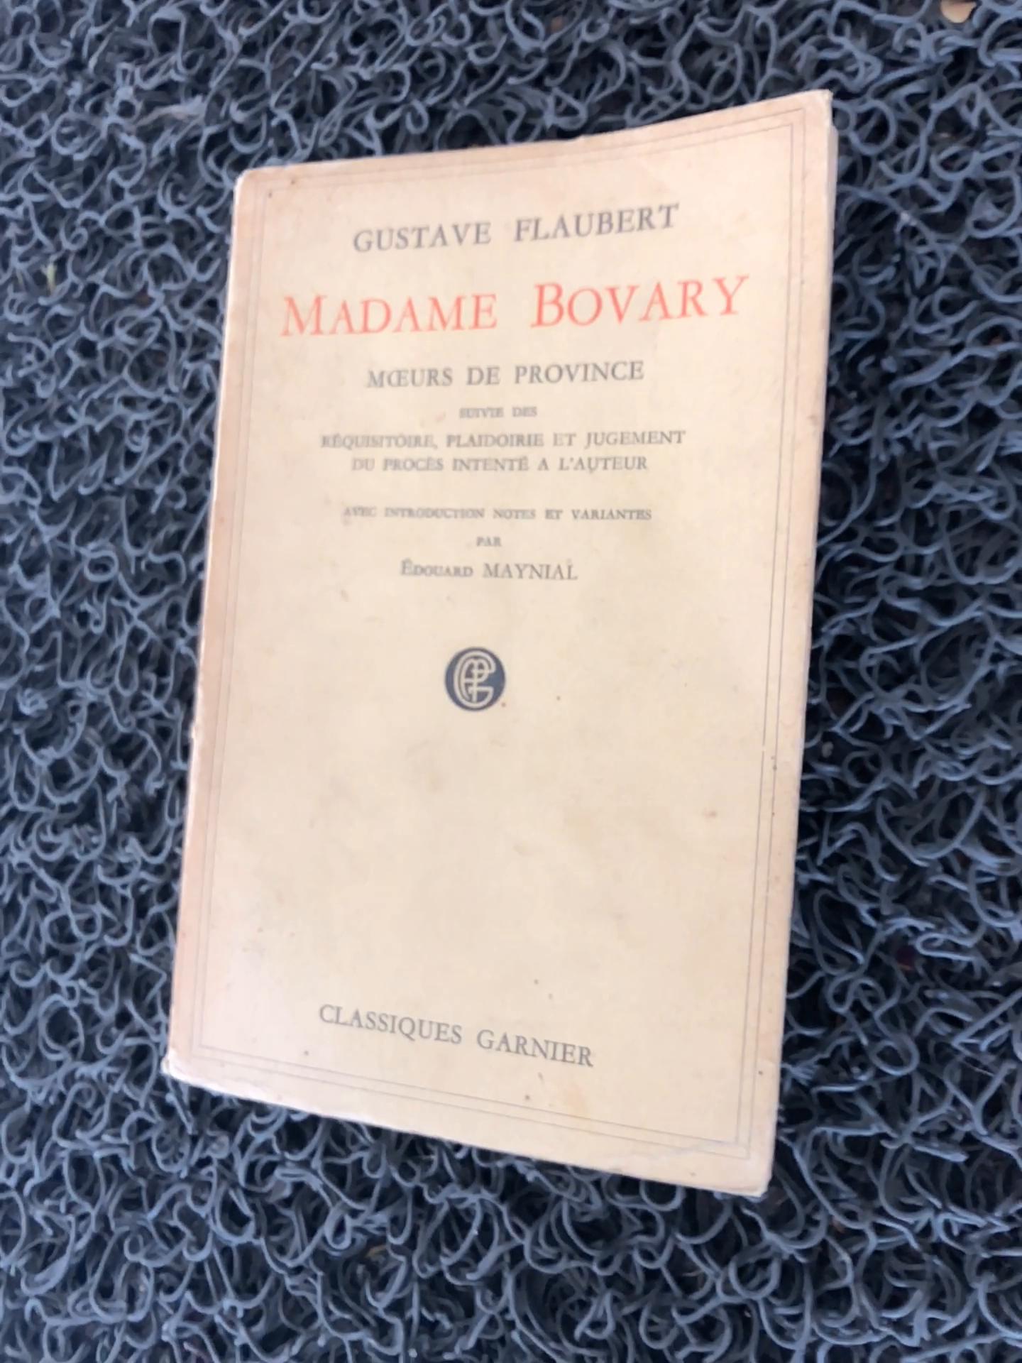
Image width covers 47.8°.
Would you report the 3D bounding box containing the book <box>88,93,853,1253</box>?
[{"bbox_3d":[-0.007,-0.006,0.214,0.124,0.035,0.180,3,87,18],"label":"book"}]
